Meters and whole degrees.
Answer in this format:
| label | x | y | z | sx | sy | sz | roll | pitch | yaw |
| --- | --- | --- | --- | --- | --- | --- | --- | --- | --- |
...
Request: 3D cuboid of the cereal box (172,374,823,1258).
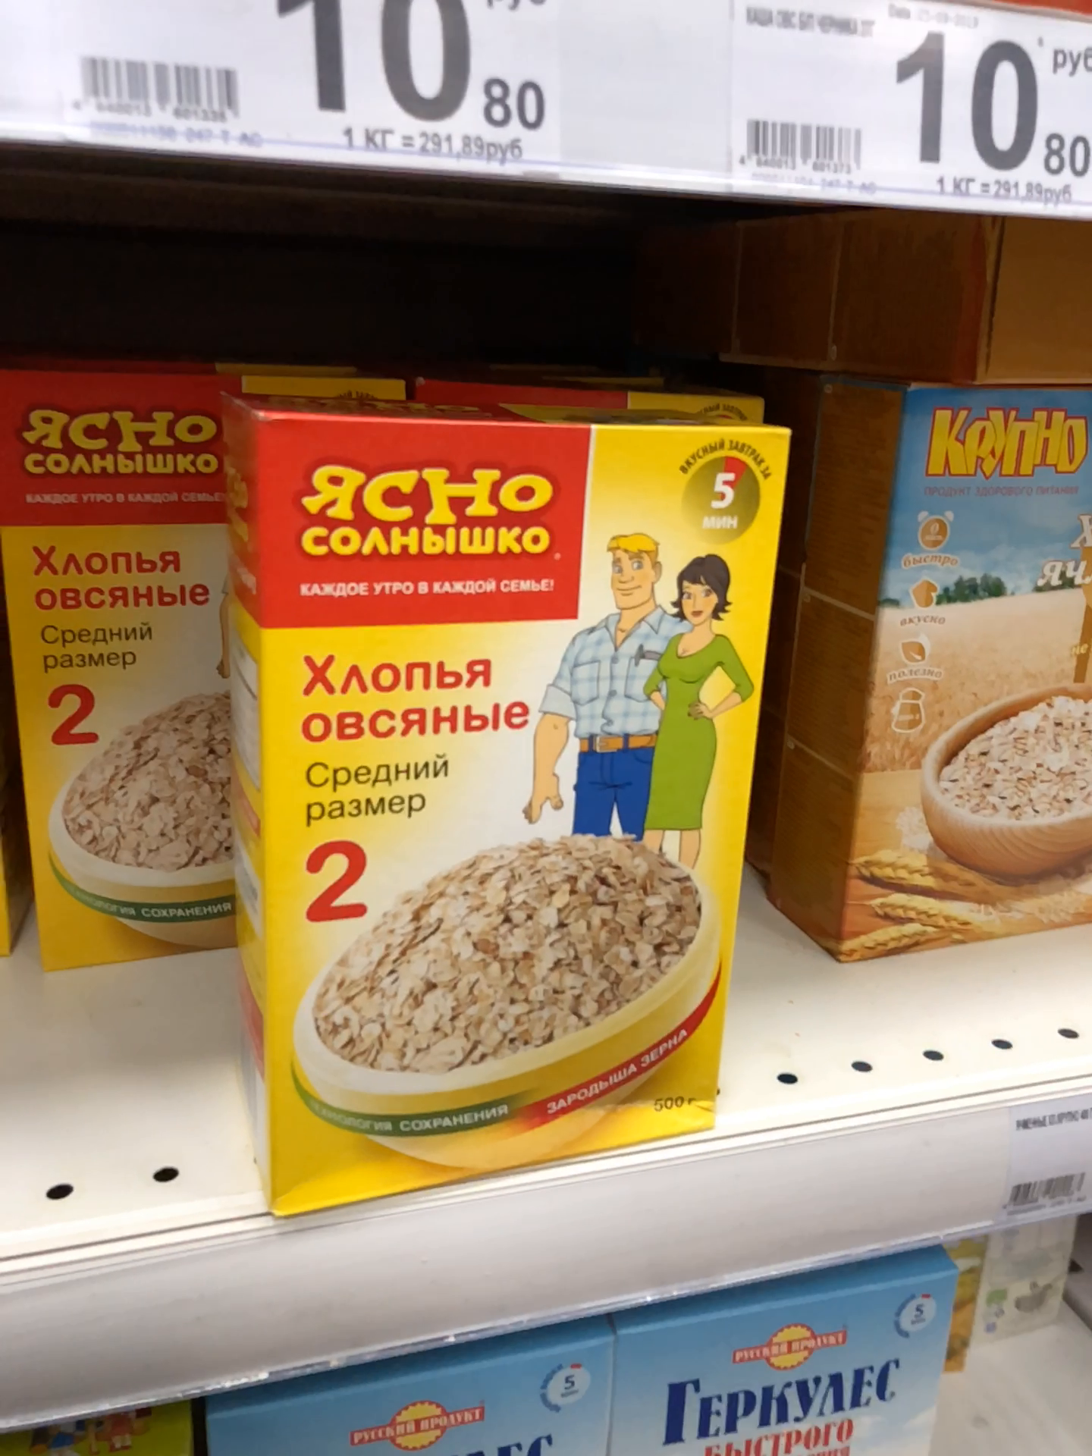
| label | x | y | z | sx | sy | sz | roll | pitch | yaw |
| --- | --- | --- | --- | --- | --- | --- | --- | --- | --- |
| cereal box | -0.017 | 0.015 | 0.295 | 0.130 | 0.189 | 0.070 | -4 | 19 | -18 |
